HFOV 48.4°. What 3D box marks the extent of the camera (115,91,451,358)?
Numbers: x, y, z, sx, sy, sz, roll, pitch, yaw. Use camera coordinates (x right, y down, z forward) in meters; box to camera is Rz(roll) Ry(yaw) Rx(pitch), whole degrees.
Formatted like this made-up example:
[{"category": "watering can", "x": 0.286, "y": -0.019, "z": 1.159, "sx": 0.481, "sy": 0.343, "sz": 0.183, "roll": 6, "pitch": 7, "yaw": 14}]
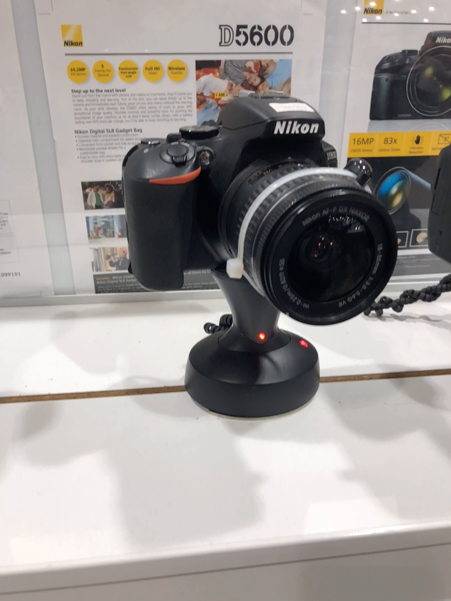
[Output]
[{"category": "camera", "x": 0.019, "y": -0.054, "z": 0.257, "sx": 0.130, "sy": 0.090, "sz": 0.141, "roll": -6, "pitch": 26, "yaw": -15}]
